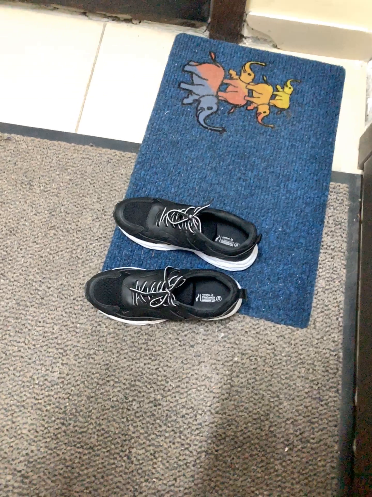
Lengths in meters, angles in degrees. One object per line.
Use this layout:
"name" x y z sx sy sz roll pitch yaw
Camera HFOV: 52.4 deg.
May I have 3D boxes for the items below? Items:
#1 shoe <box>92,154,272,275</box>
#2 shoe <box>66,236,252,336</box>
"shoe" -0.006 -0.053 0.639 0.260 0.100 0.110 16 73 3
"shoe" -0.038 0.064 0.605 0.260 0.100 0.110 7 72 1
